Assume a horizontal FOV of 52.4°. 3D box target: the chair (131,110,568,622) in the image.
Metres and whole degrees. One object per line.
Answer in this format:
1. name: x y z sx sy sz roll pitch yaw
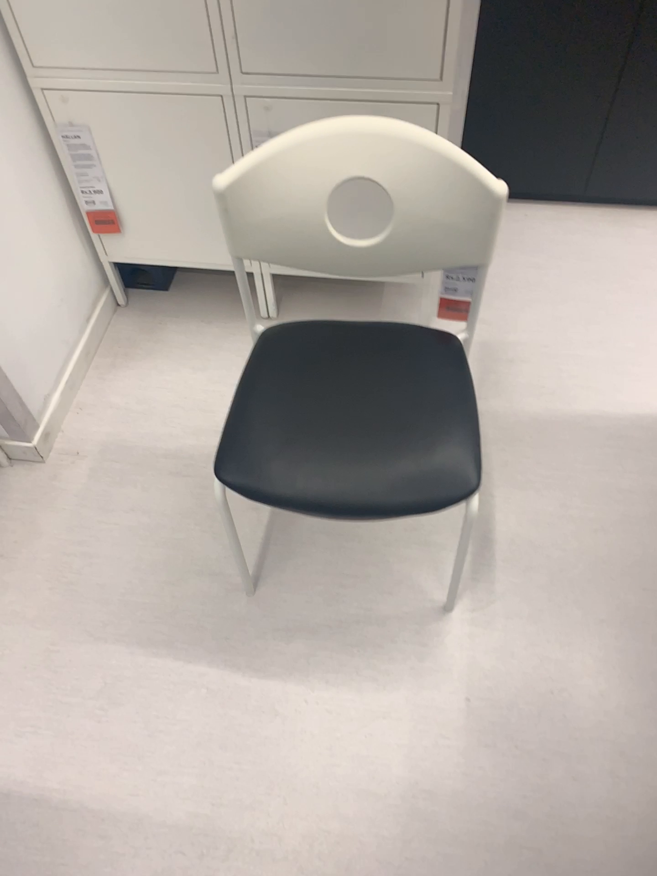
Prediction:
1. chair: 0.052 -0.073 1.194 0.480 0.768 0.511 3 55 4
